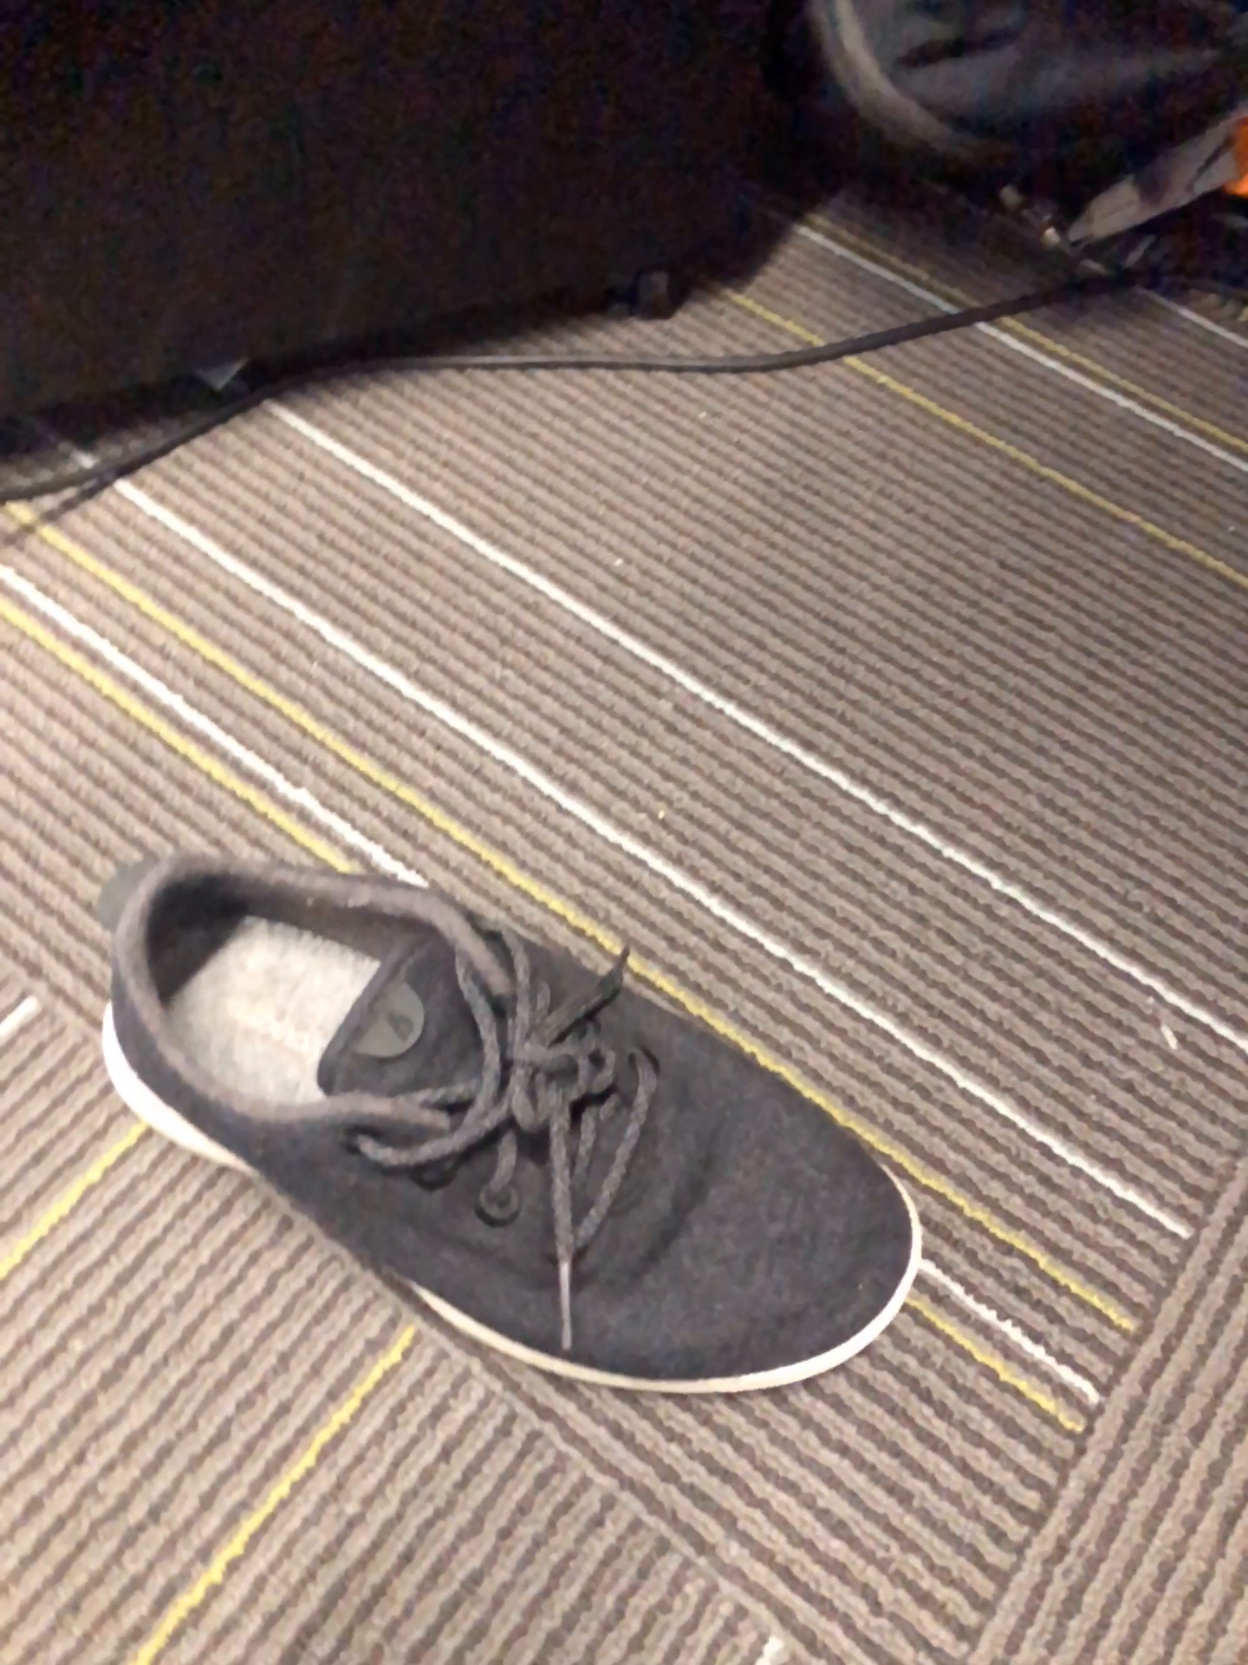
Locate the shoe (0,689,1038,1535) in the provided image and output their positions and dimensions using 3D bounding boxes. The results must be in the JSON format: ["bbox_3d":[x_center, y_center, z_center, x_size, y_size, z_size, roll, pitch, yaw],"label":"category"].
[{"bbox_3d":[-0.039,0.073,0.393,0.270,0.070,0.120,23,61,10],"label":"shoe"}]
